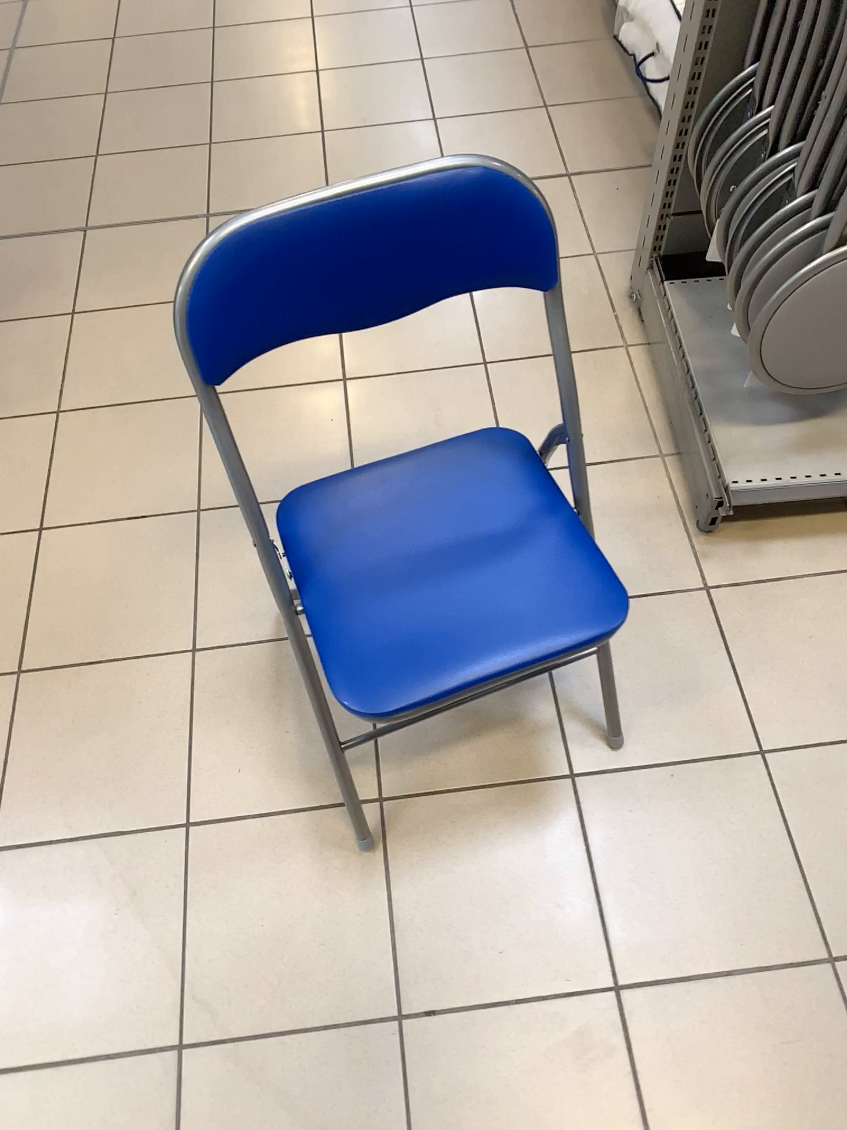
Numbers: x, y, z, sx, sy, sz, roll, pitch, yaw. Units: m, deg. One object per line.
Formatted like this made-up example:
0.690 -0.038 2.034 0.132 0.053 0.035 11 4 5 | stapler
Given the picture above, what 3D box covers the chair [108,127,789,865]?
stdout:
0.002 -0.041 1.097 0.478 0.664 0.526 -20 59 -9 | chair
